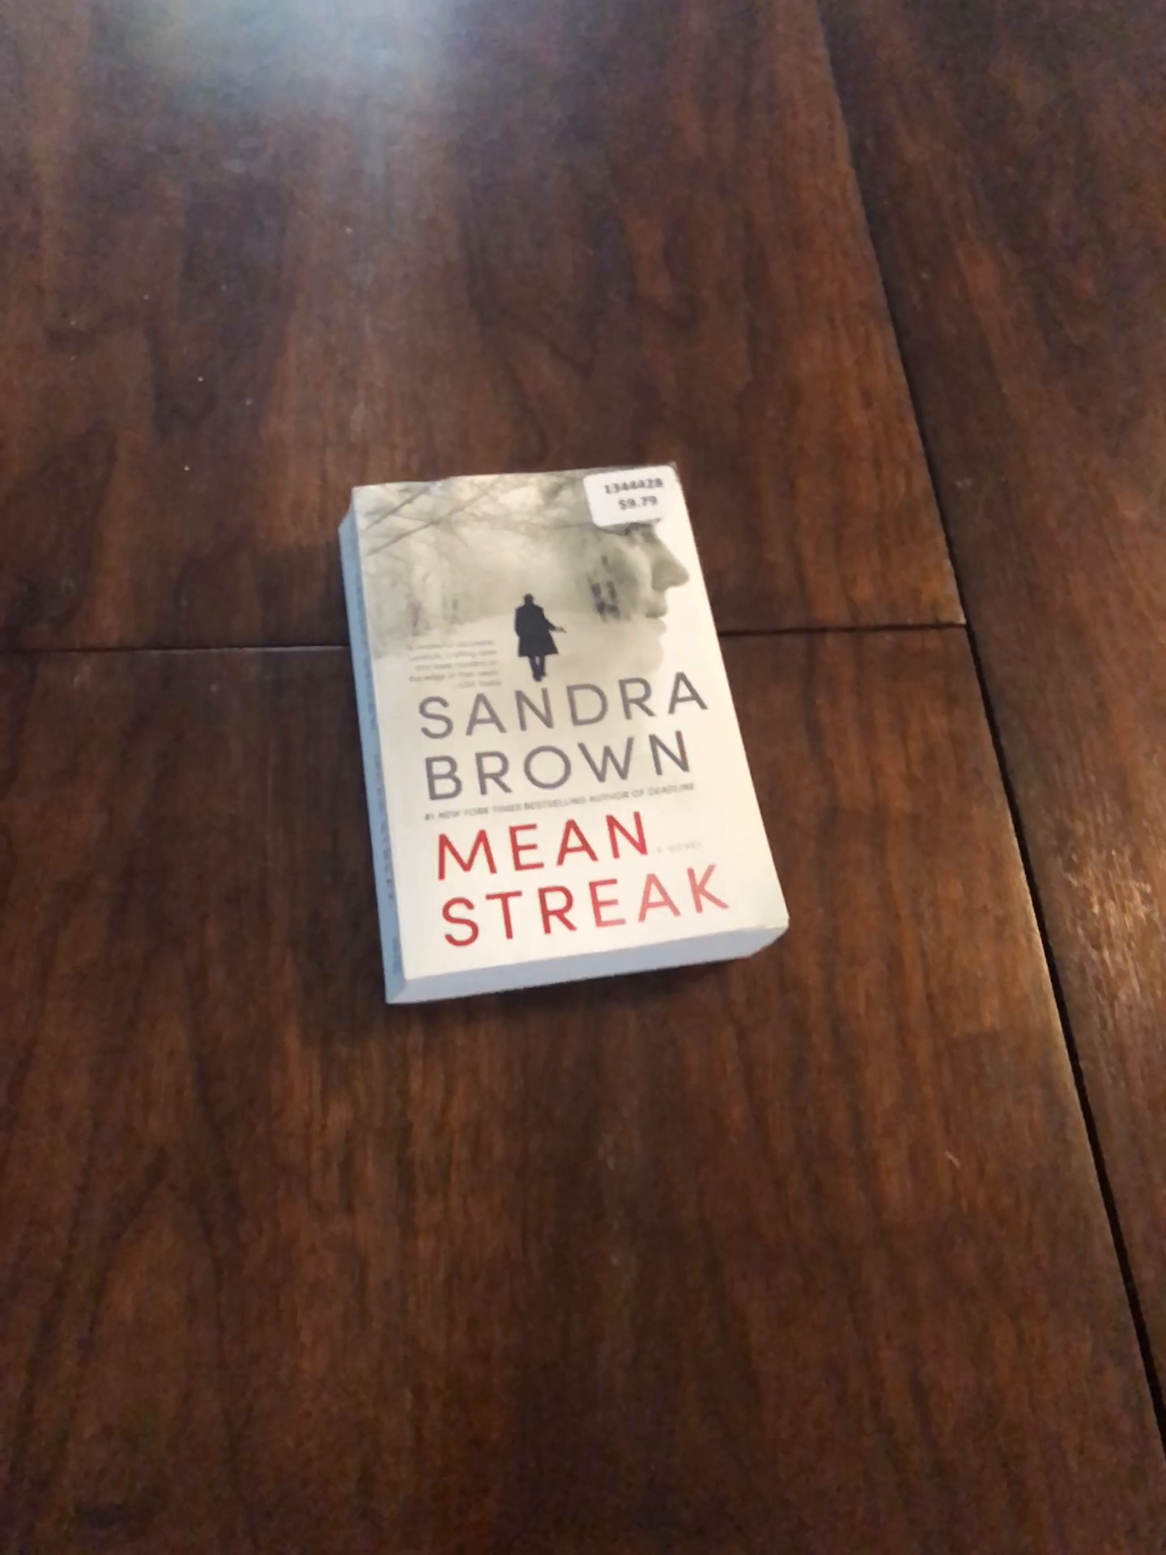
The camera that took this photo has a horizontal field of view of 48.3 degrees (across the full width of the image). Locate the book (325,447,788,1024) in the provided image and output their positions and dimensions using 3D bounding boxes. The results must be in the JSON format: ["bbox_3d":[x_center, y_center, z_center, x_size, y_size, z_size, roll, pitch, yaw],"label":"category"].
[{"bbox_3d":[-0.016,-0.024,0.478,0.137,0.030,0.207,-6,66,-7],"label":"book"}]
